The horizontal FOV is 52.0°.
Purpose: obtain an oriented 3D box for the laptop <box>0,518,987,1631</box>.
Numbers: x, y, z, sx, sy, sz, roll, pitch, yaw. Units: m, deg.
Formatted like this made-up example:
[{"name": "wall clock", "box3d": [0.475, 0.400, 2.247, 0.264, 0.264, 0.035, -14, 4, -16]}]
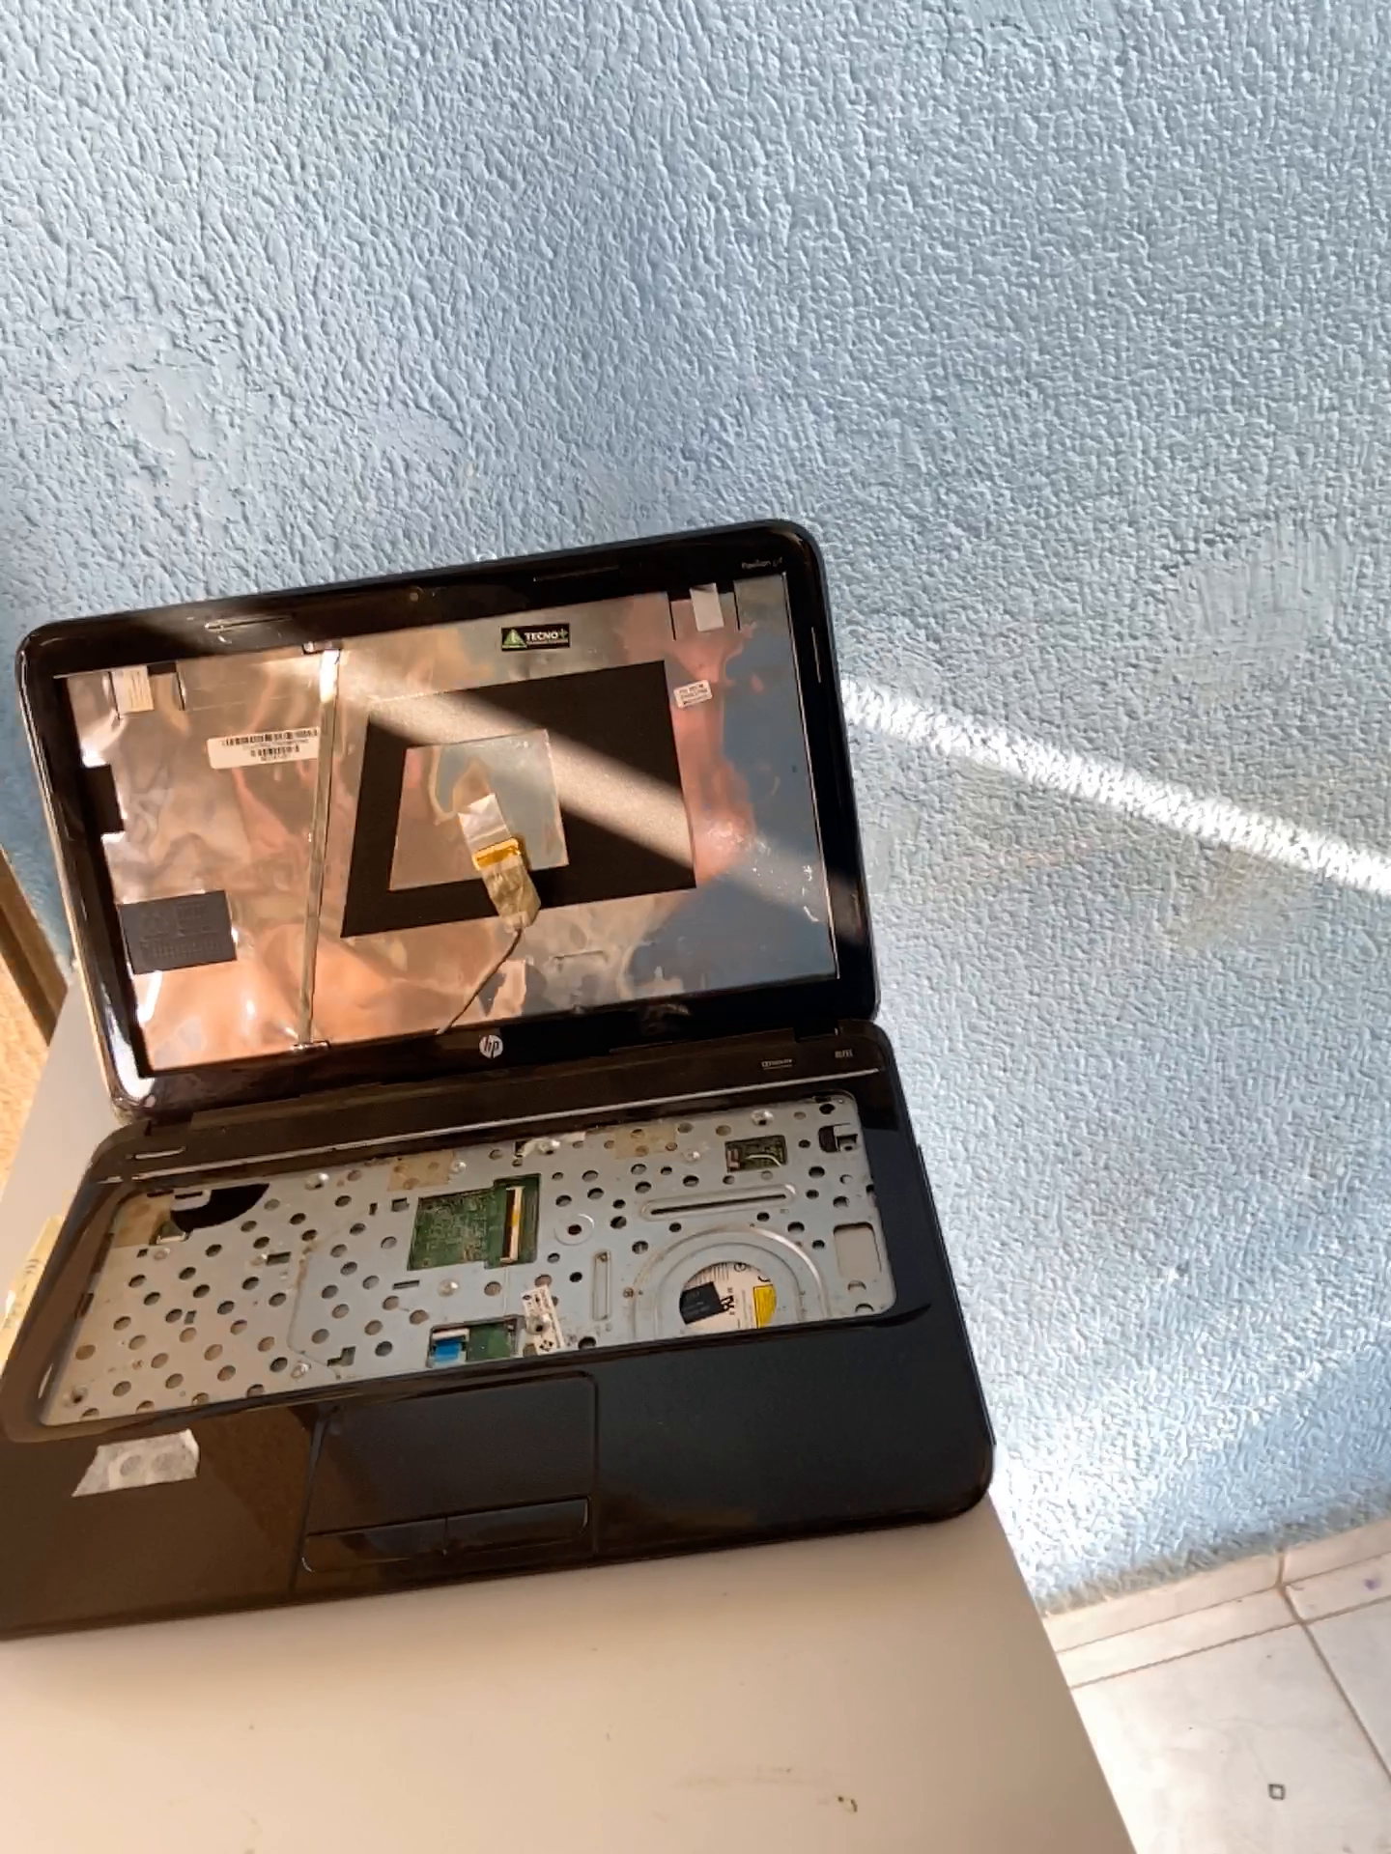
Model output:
[{"name": "laptop", "box3d": [-0.099, 0.023, 0.518, 0.335, 0.186, 0.326, -8, 34, 2]}]
